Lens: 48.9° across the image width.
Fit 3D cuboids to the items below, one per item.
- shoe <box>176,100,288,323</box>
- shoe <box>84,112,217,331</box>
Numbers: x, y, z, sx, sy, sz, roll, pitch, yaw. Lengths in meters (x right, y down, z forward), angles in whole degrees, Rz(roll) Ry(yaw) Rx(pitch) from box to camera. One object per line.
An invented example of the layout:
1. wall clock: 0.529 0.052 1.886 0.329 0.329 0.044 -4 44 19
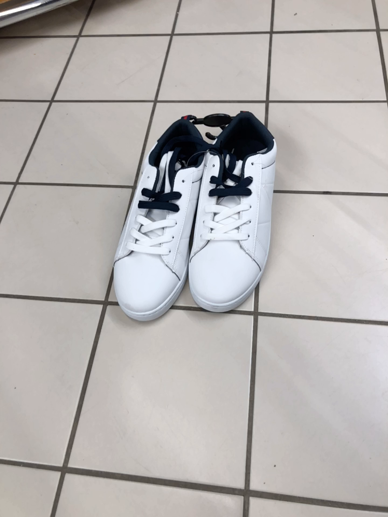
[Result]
1. shoe: 0.061 -0.073 0.575 0.100 0.100 0.291 6 60 10
2. shoe: -0.044 -0.061 0.588 0.100 0.100 0.291 6 60 10
